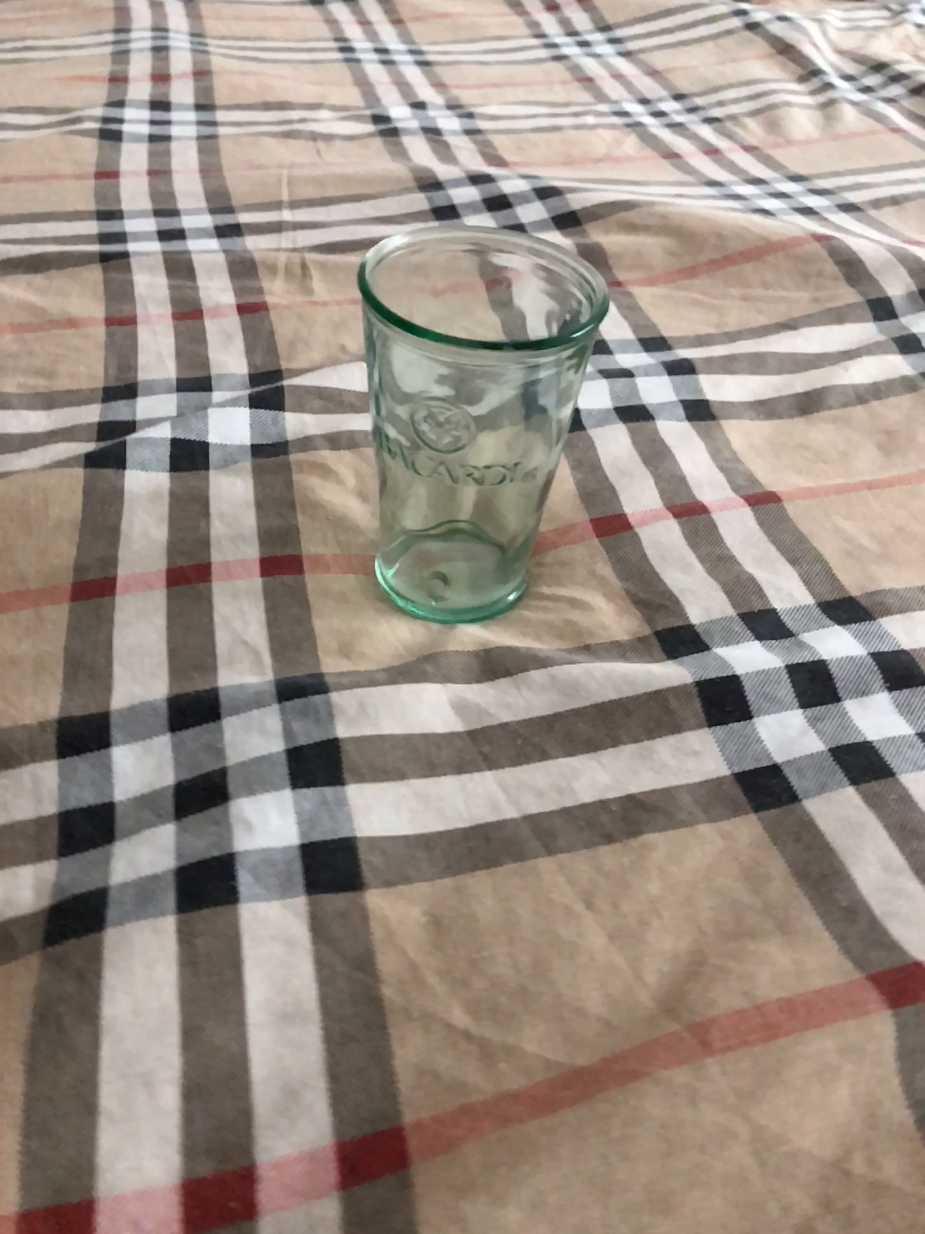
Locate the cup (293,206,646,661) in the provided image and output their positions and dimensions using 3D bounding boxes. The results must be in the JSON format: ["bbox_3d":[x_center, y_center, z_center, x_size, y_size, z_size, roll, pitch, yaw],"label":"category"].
[{"bbox_3d":[0.002,-0.064,0.351,0.085,0.112,0.082,3,41,-2],"label":"cup"}]
